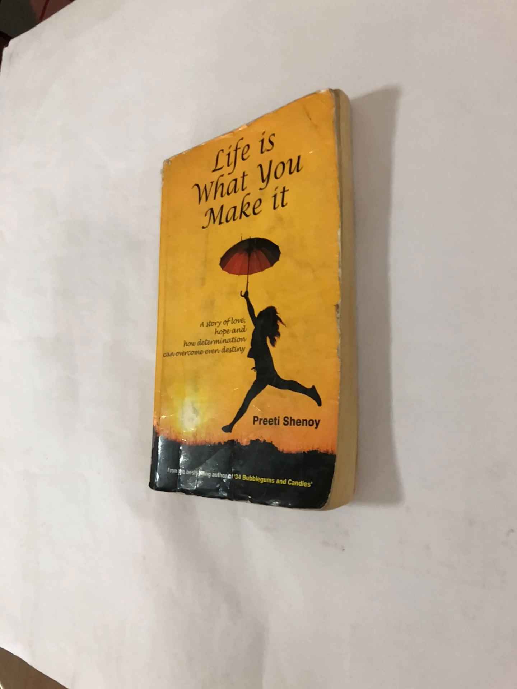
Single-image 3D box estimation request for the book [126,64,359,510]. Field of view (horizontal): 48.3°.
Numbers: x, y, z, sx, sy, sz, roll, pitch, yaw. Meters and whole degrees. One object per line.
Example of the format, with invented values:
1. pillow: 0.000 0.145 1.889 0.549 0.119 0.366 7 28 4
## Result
1. book: -0.014 -0.025 0.315 0.141 0.020 0.210 -6 79 38
